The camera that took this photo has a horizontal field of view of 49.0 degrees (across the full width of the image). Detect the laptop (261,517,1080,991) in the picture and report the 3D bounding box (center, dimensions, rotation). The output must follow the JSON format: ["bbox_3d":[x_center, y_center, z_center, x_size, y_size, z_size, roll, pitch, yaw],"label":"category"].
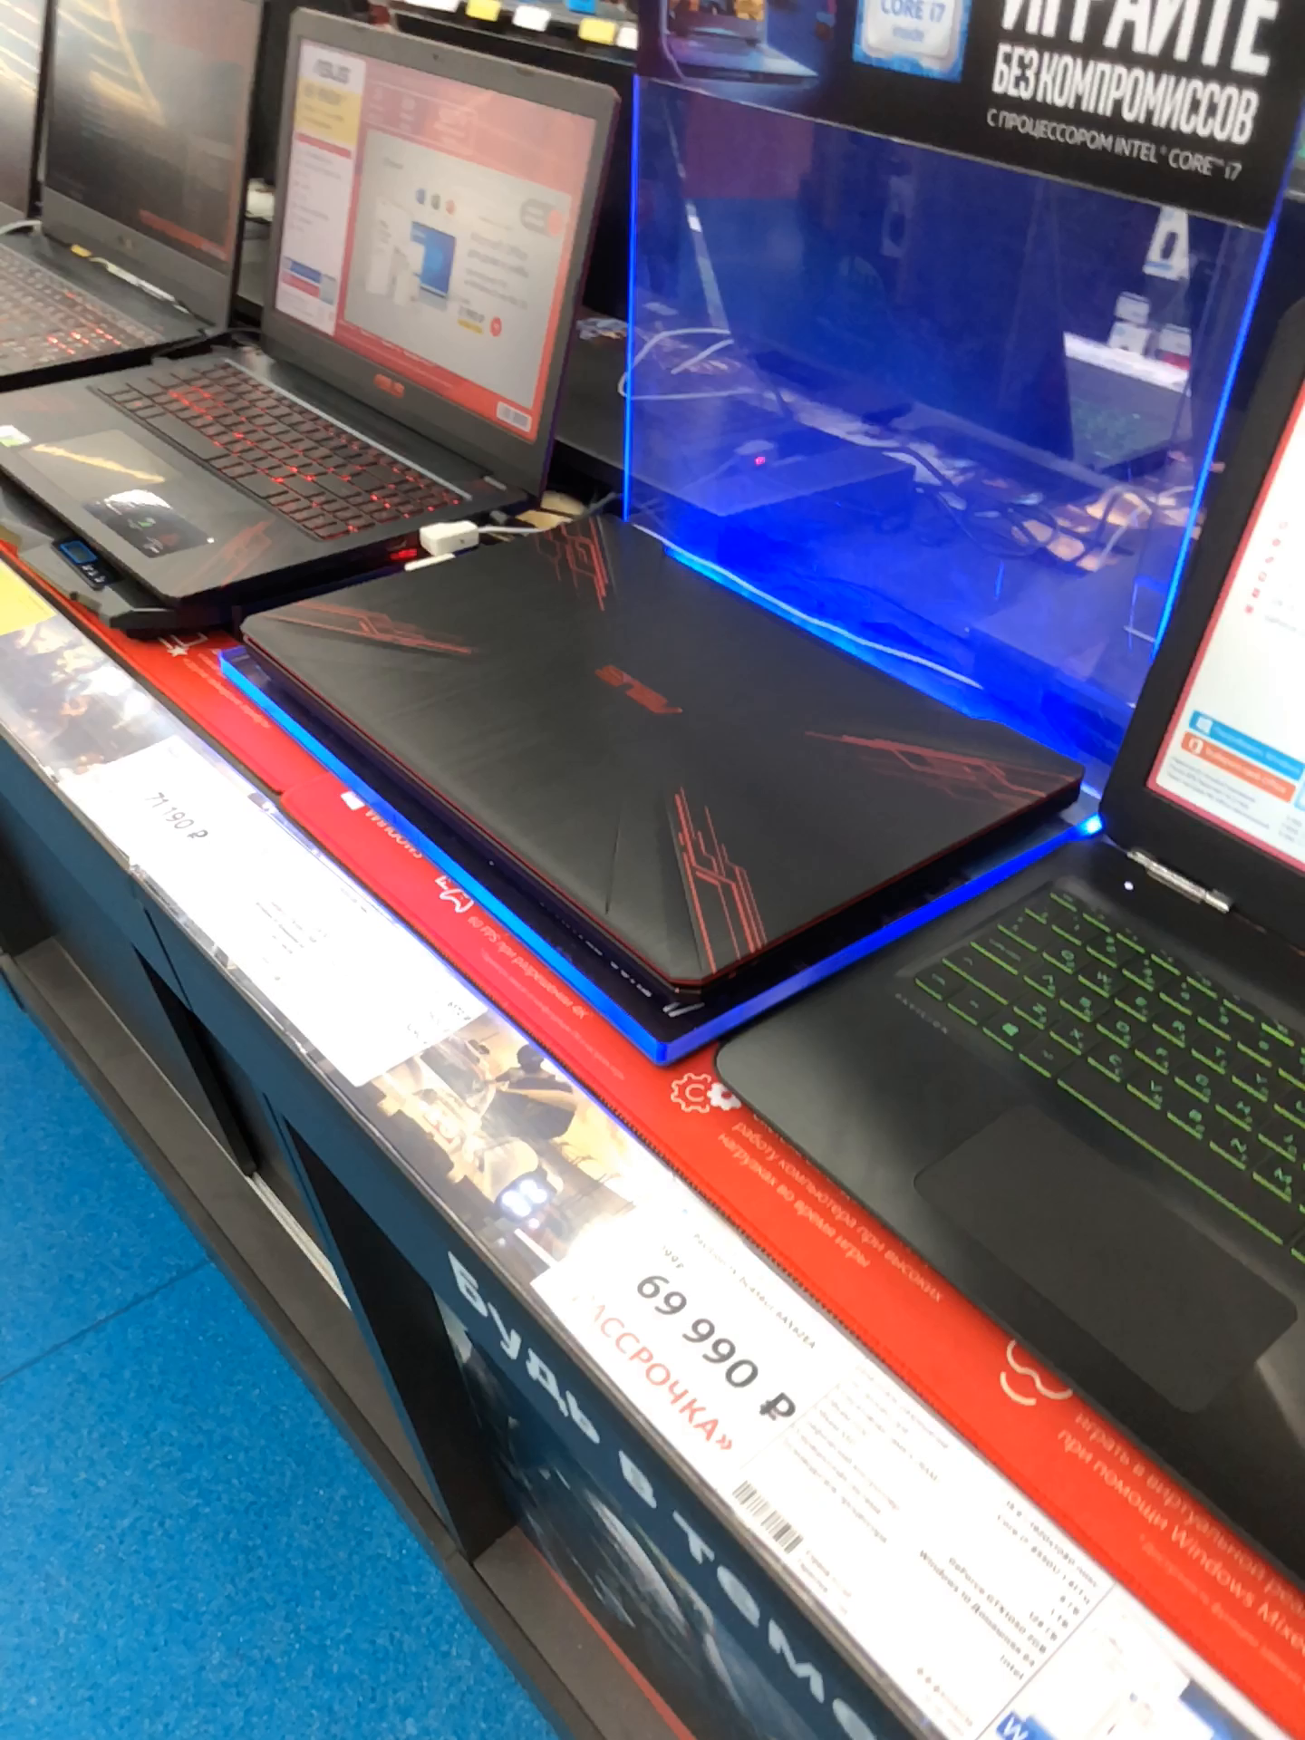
[{"bbox_3d":[-0.006,-0.089,0.743,0.244,0.006,0.374,-26,45,-31],"label":"laptop"}]

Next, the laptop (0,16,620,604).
[{"bbox_3d":[-0.266,-0.395,0.937,0.319,0.231,0.391,-26,45,-33],"label":"laptop"}]

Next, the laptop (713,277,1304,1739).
[{"bbox_3d":[0.255,0.011,0.452,0.292,0.242,0.375,-26,45,-31],"label":"laptop"}]
